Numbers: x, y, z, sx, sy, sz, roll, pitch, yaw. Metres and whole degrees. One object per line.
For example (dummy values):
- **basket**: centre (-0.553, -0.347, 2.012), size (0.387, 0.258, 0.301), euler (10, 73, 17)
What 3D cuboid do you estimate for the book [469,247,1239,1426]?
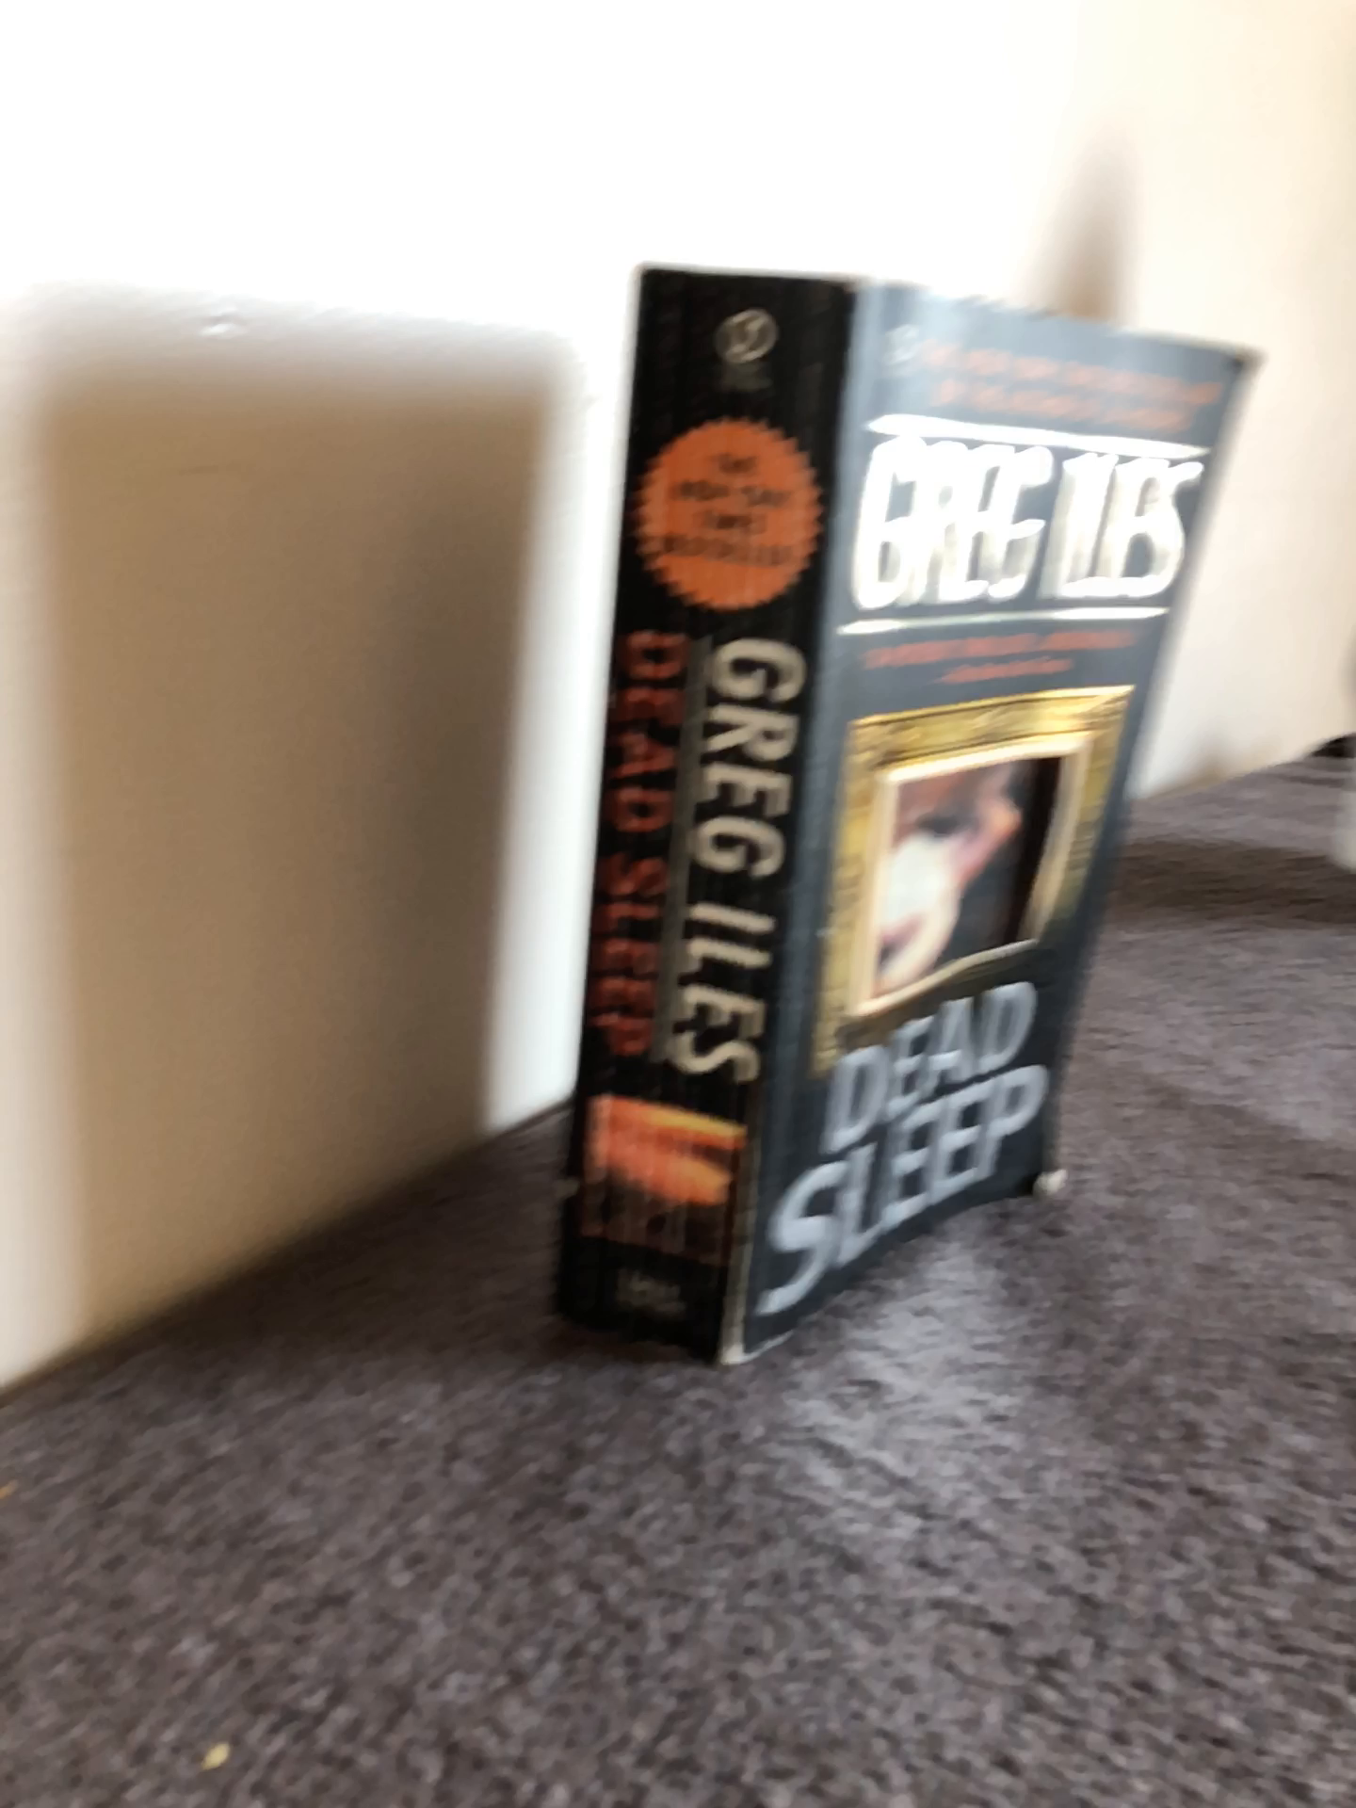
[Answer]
- **book**: centre (0.033, -0.019, 0.266), size (0.061, 0.163, 0.123), euler (18, 22, 33)
